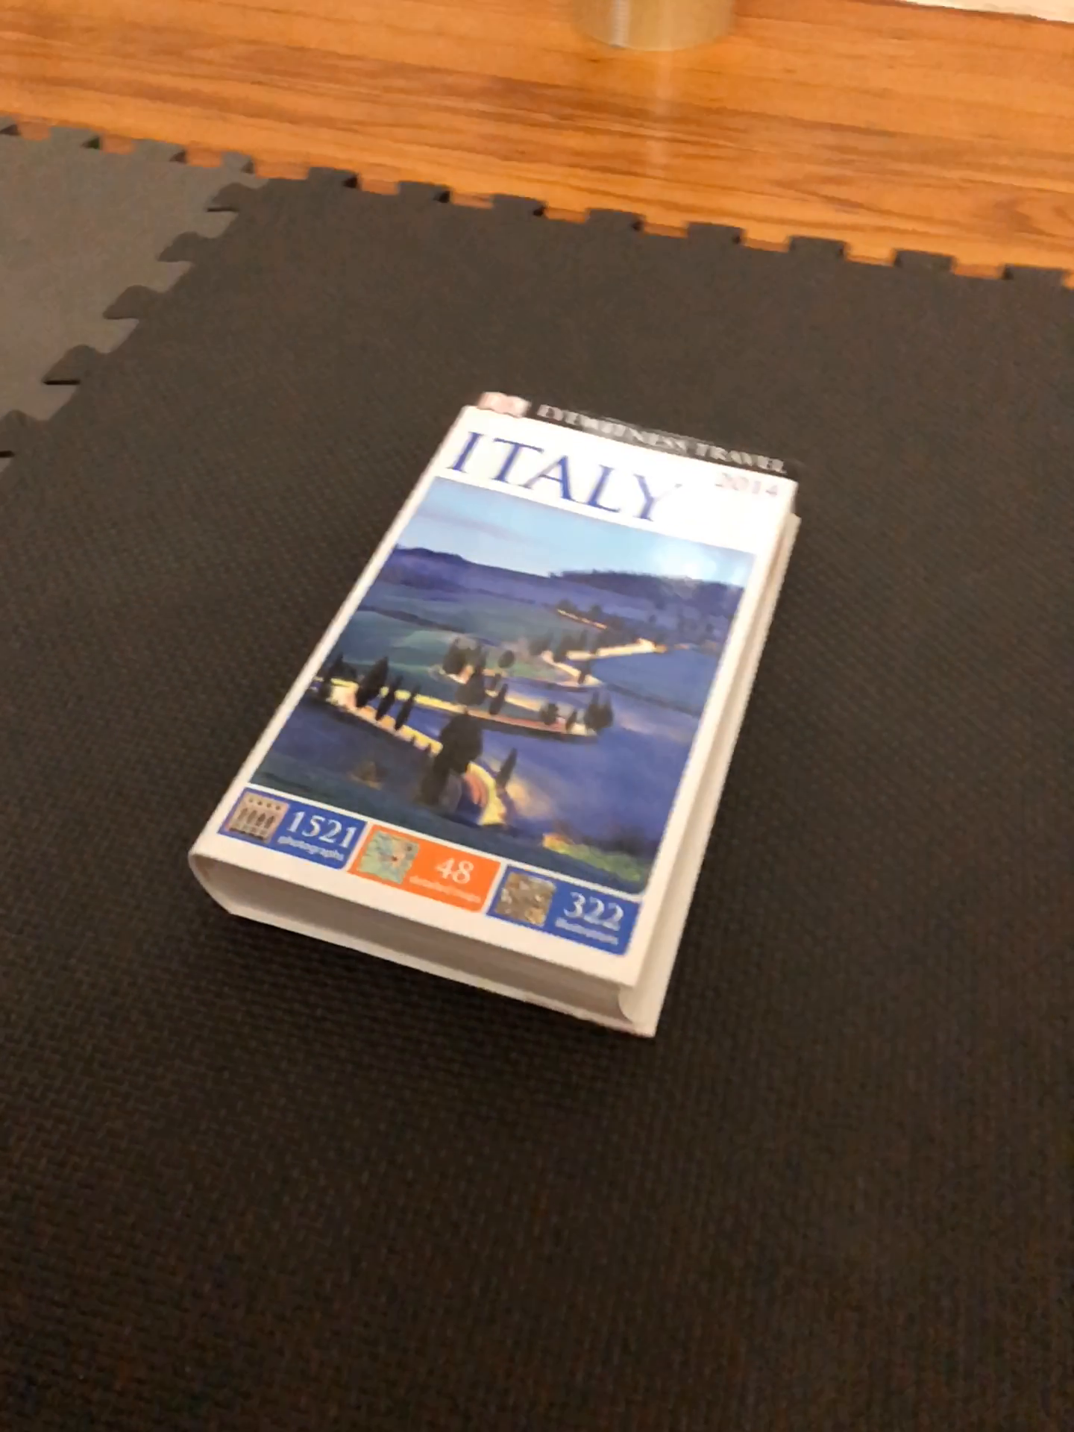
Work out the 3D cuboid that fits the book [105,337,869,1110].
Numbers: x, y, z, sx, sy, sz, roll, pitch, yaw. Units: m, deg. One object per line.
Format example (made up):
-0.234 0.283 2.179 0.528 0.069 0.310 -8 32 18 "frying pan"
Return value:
0.004 -0.023 0.379 0.160 0.040 0.251 14 51 12 "book"
